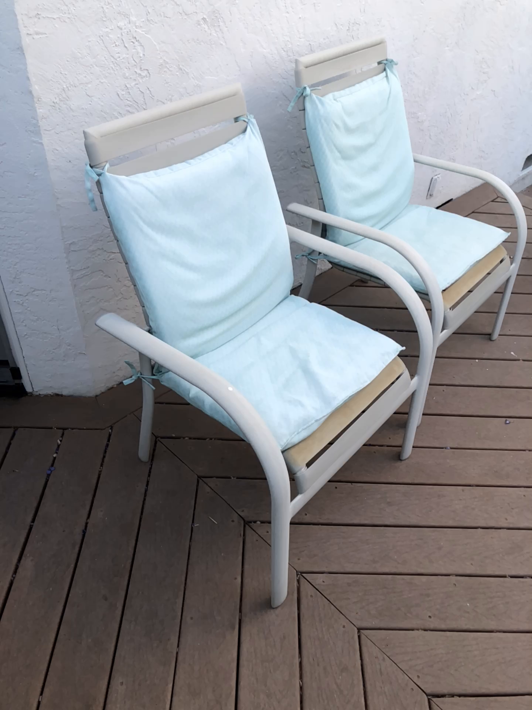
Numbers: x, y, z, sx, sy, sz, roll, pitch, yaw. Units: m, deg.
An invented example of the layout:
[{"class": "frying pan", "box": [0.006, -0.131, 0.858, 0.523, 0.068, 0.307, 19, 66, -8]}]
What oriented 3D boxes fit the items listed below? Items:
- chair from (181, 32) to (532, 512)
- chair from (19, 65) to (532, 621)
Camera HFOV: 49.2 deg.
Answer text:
[{"class": "chair", "box": [0.326, -0.317, 2.123, 0.872, 1.273, 0.843, 31, 48, 28]}, {"class": "chair", "box": [0.011, -0.065, 1.484, 0.782, 0.964, 0.703, 31, 48, 28]}]
